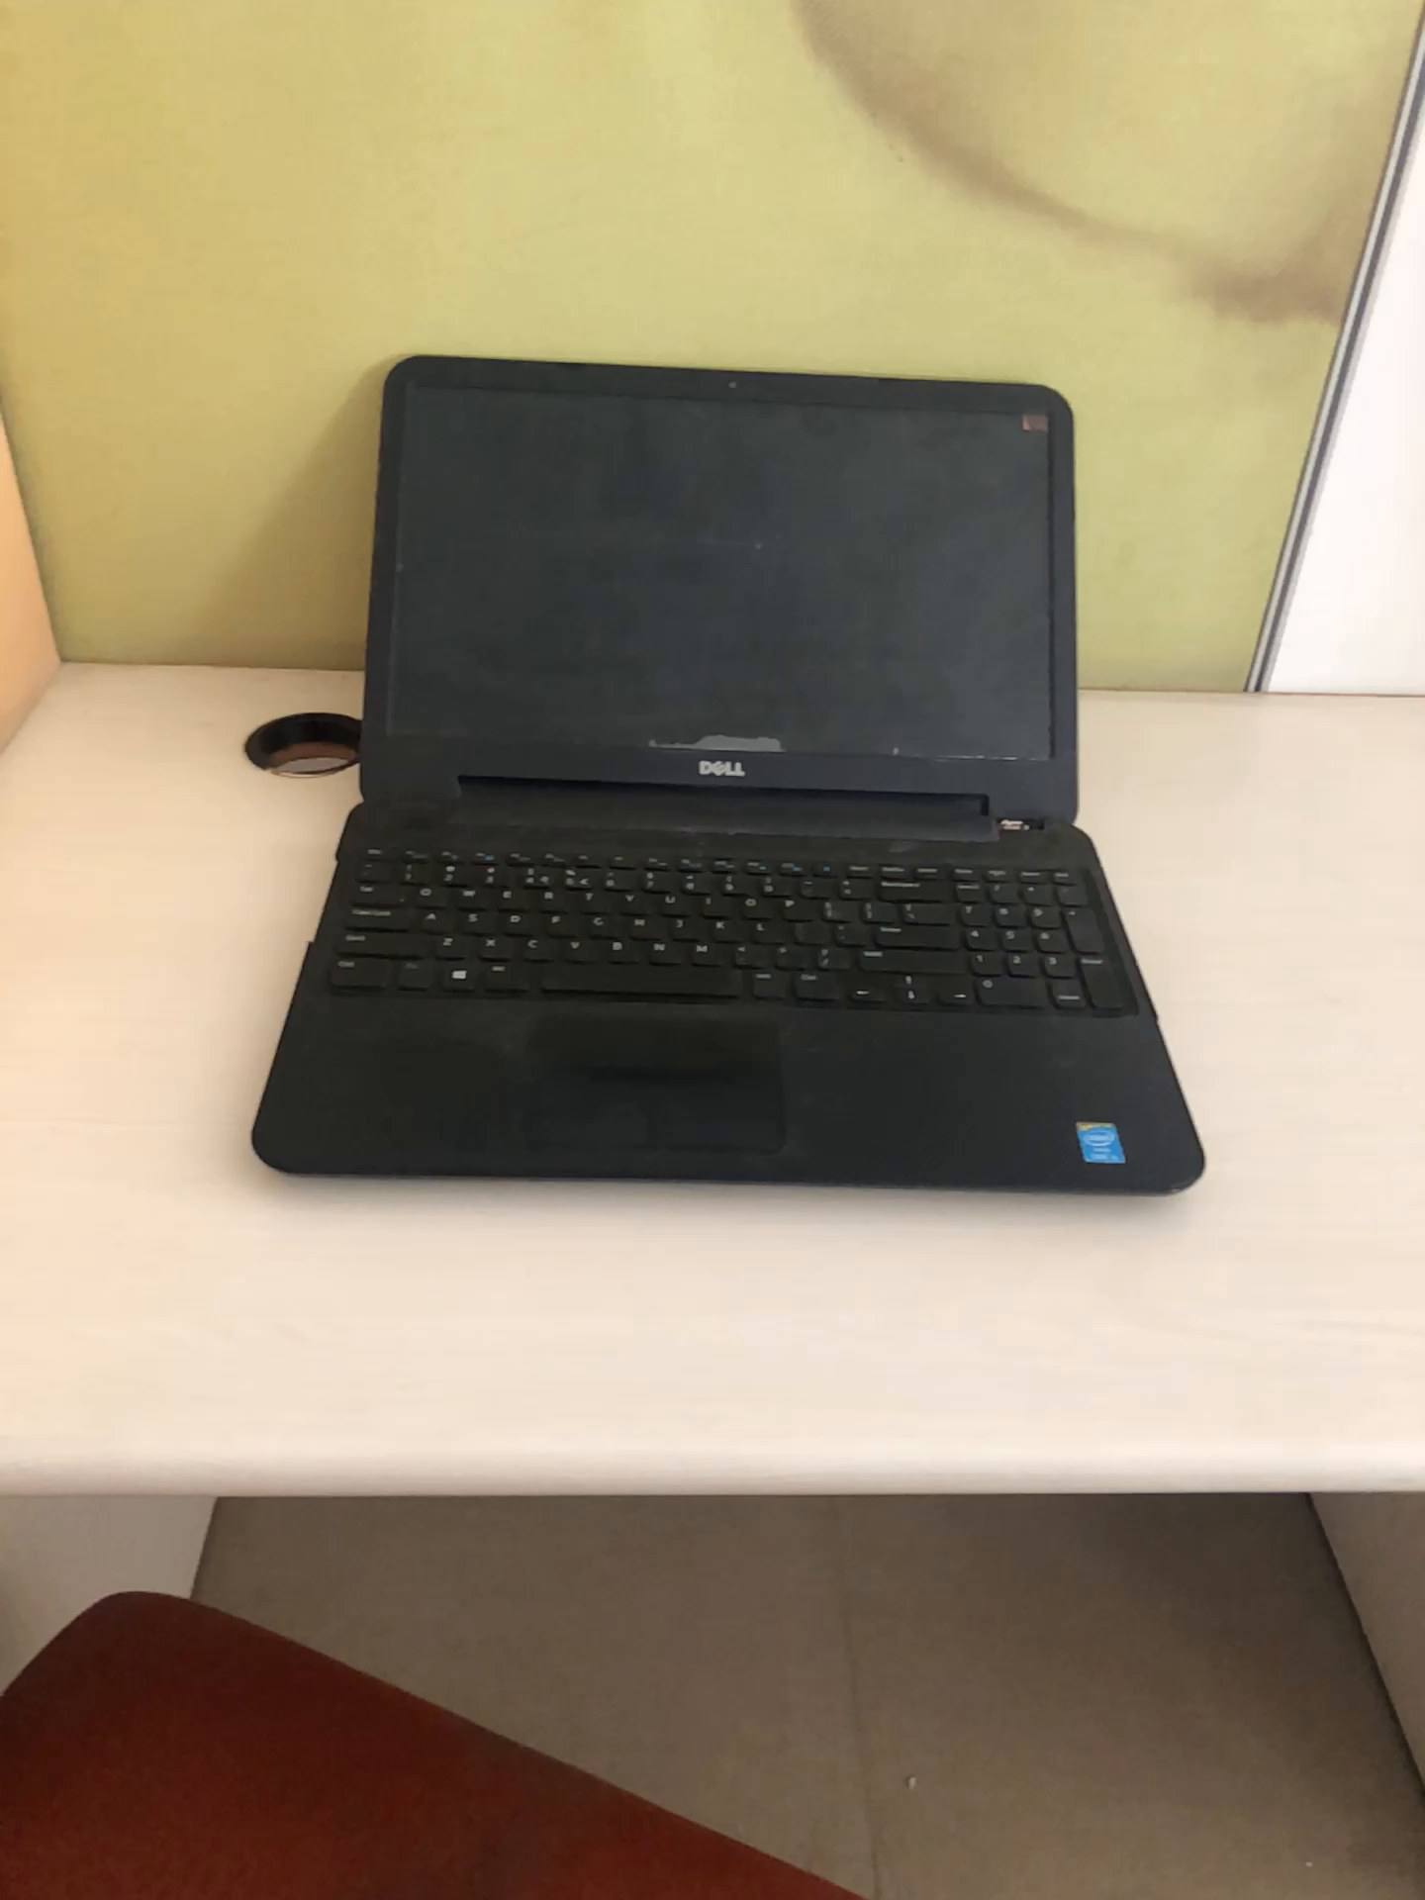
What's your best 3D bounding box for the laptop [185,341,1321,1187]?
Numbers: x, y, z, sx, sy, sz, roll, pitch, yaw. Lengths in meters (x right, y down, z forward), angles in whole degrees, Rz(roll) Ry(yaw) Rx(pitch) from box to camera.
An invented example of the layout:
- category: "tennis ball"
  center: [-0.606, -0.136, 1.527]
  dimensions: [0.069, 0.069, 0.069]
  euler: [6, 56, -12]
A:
- category: "laptop"
  center: [0.010, -0.113, 0.701]
  dimensions: [0.355, 0.158, 0.429]
  euler: [2, 38, -3]
